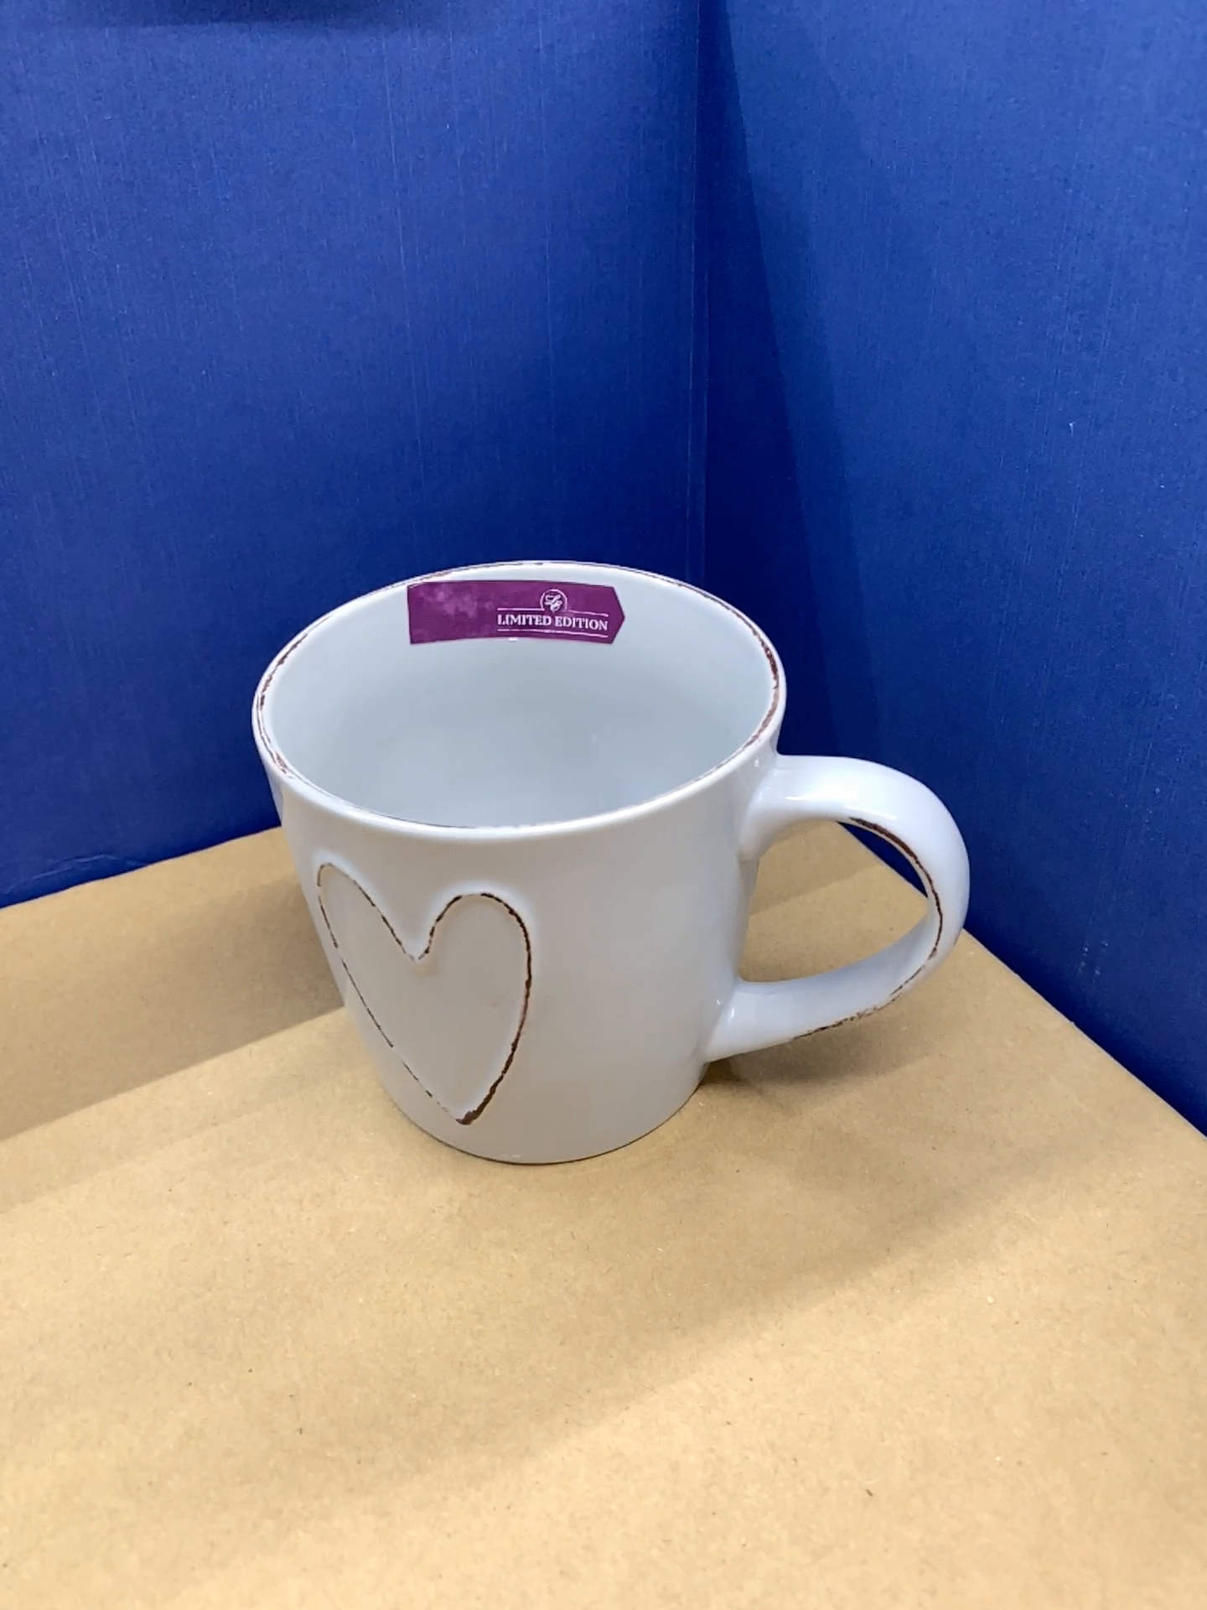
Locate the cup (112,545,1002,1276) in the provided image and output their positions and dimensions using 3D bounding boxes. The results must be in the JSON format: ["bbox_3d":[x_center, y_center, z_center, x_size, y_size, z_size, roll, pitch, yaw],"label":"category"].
[{"bbox_3d":[-0.001,0.013,0.232,0.124,0.085,0.091,5,34,9],"label":"cup"}]
